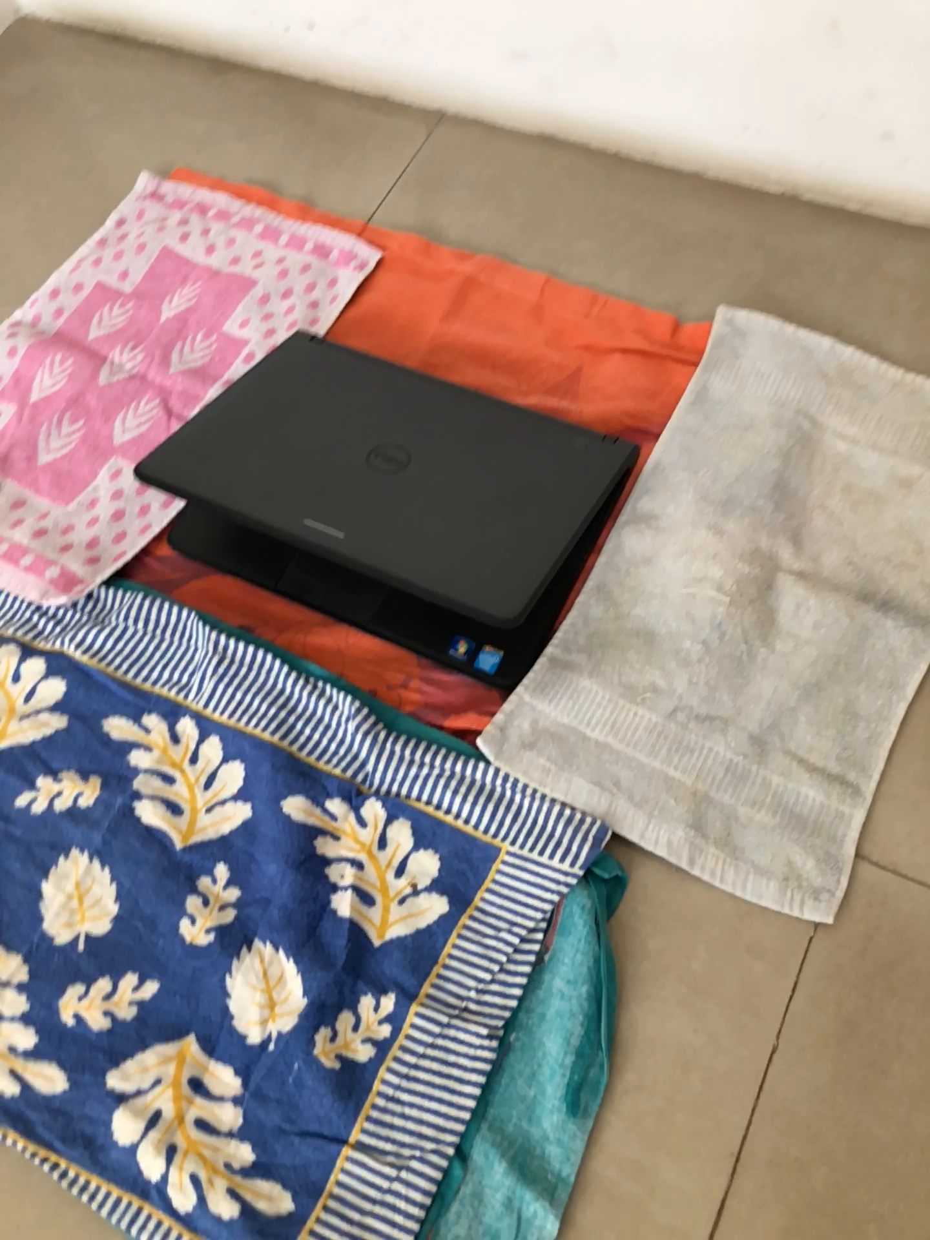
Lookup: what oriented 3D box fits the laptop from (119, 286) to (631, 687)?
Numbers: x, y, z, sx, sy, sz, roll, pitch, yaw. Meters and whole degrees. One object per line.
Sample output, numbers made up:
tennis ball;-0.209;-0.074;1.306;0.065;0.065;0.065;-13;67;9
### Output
laptop;-0.062;-0.116;0.792;0.314;0.078;0.227;22;65;17
